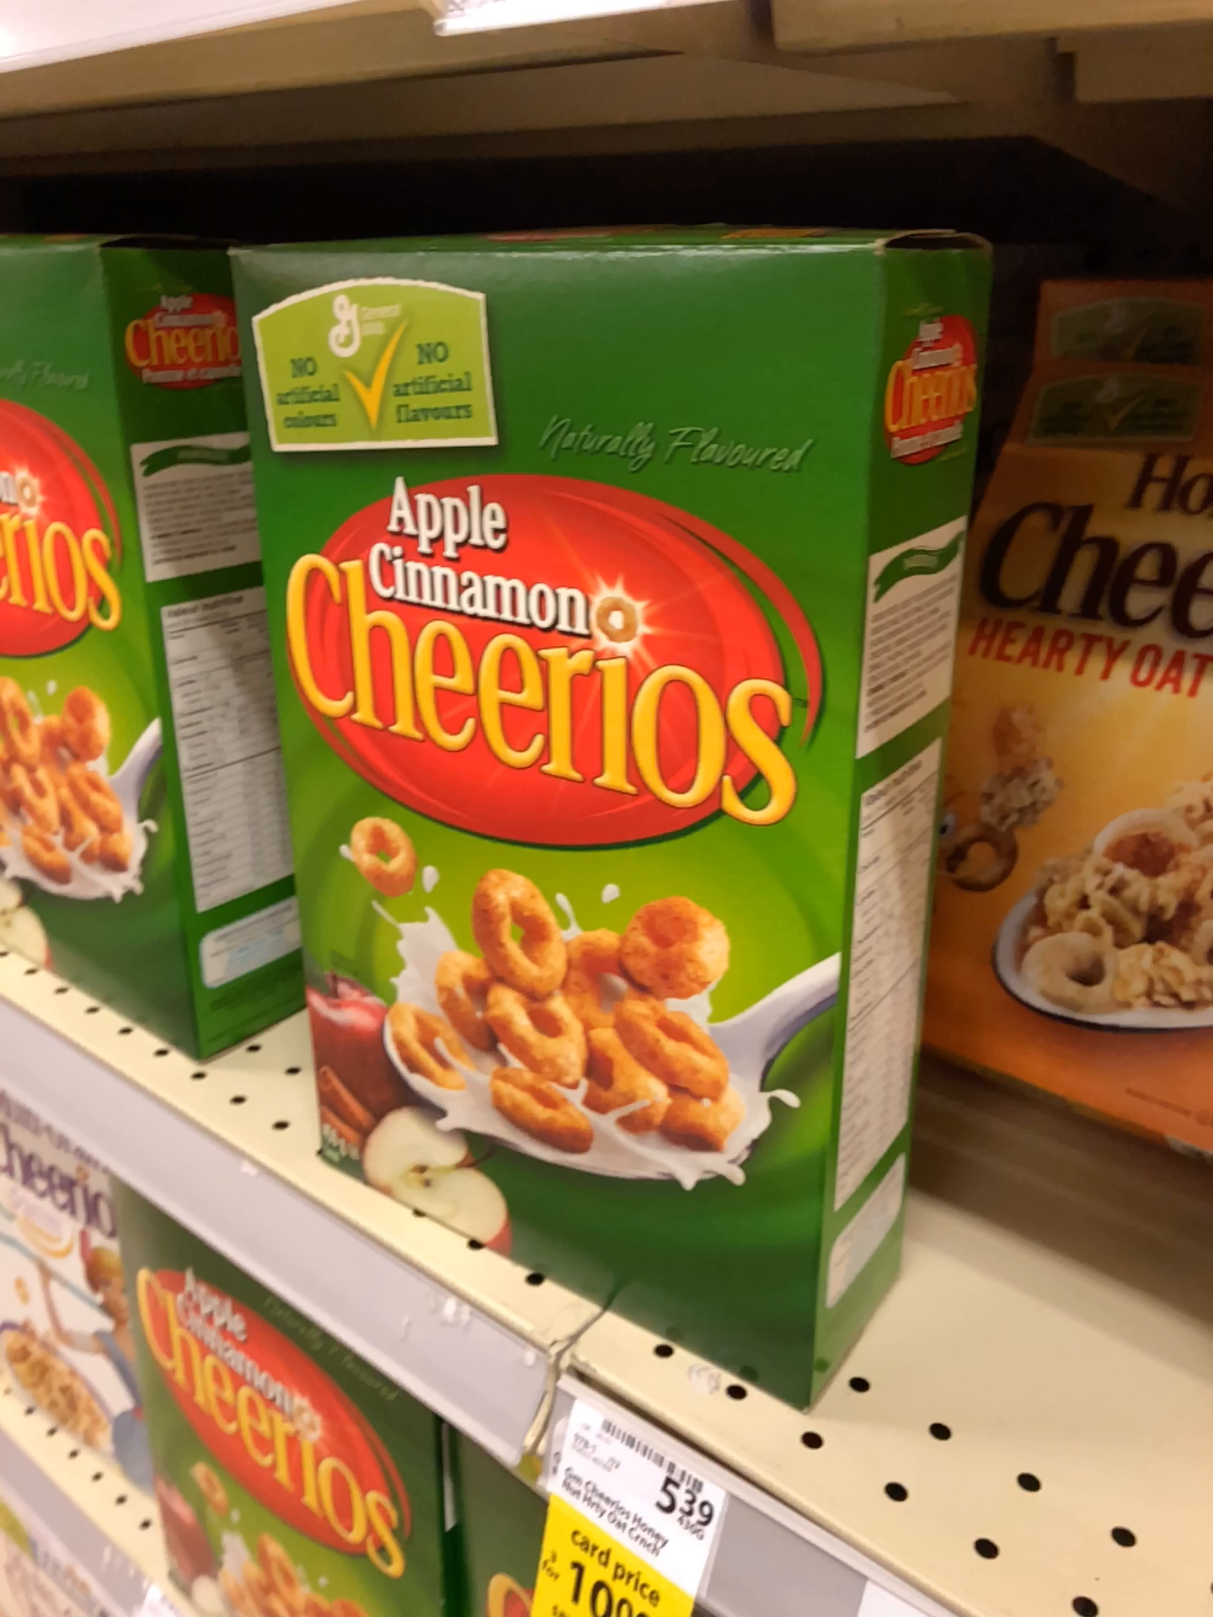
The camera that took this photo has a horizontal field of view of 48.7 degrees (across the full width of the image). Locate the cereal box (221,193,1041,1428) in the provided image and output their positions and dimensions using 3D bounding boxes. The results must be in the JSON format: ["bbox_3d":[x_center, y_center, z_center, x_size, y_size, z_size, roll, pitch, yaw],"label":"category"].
[{"bbox_3d":[-0.002,-0.006,0.391,0.201,0.308,0.070,15,26,33],"label":"cereal box"}]
